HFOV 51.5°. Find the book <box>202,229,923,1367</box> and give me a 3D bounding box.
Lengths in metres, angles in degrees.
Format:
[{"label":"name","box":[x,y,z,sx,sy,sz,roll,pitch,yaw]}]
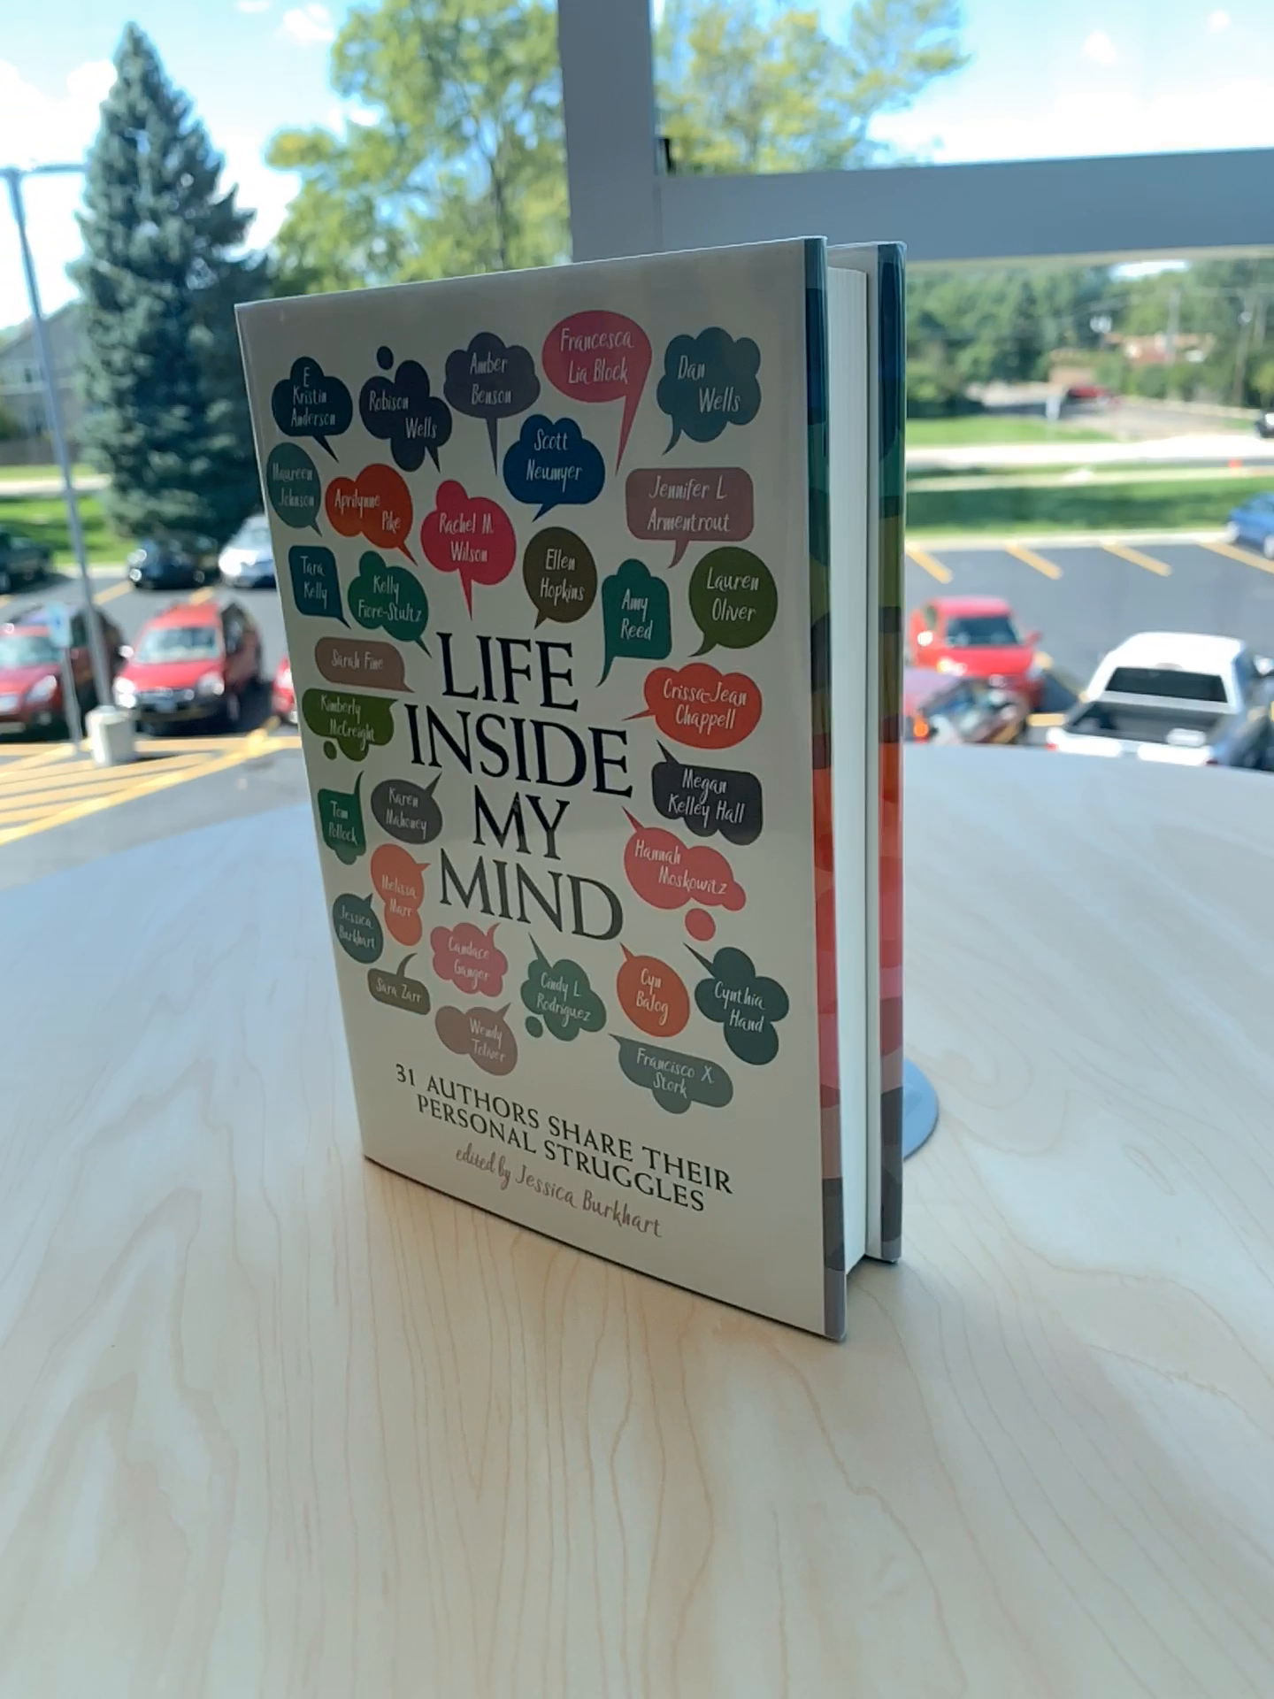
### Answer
[{"label":"book","box":[-0.015,-0.009,0.292,0.150,0.218,0.030,10,25,33]}]
